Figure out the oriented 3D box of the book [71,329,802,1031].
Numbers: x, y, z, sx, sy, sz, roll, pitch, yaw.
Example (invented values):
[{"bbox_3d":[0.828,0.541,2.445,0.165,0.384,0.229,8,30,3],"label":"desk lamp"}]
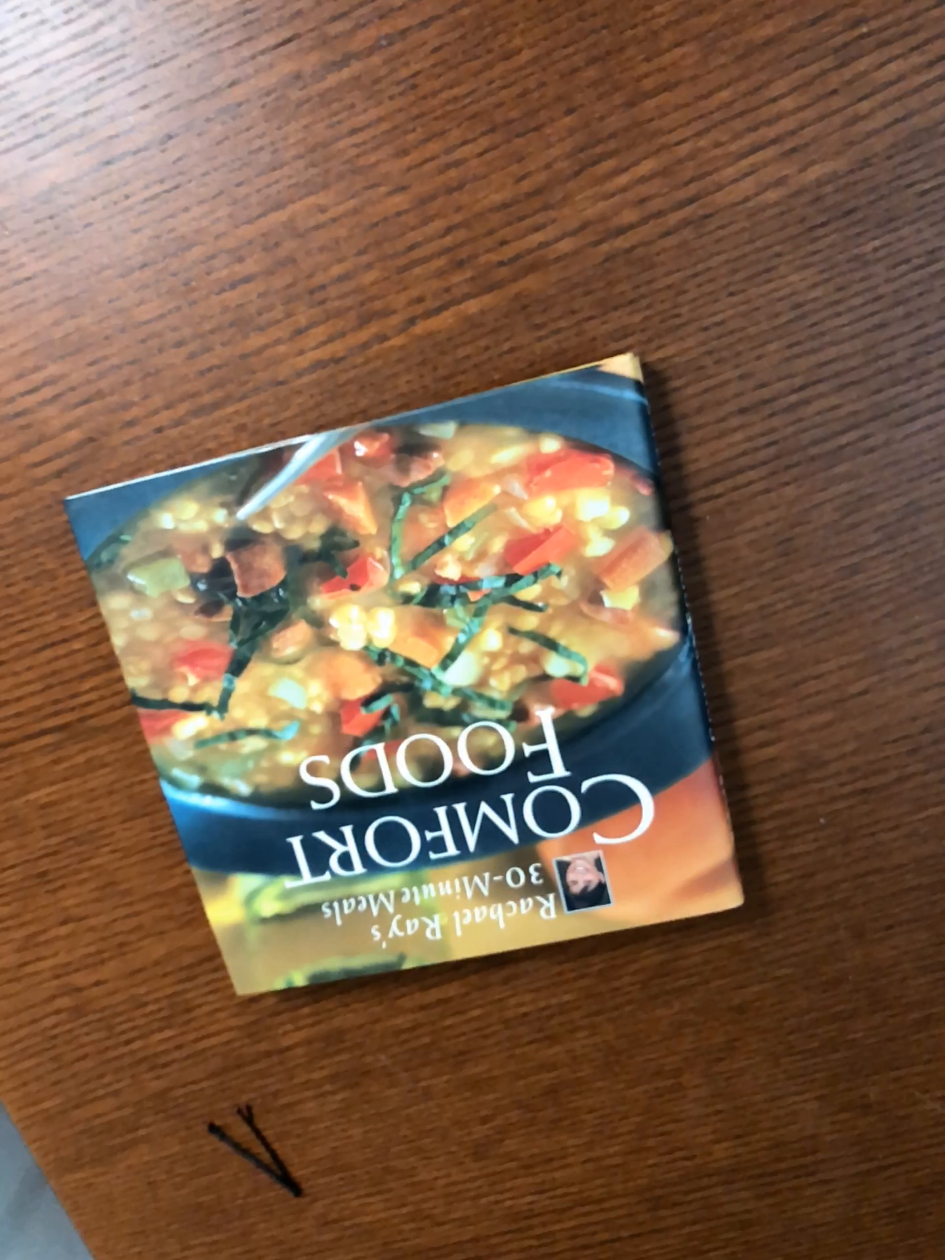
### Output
[{"bbox_3d":[-0.006,0.026,0.366,0.200,0.030,0.210,-12,105,8],"label":"book"}]
